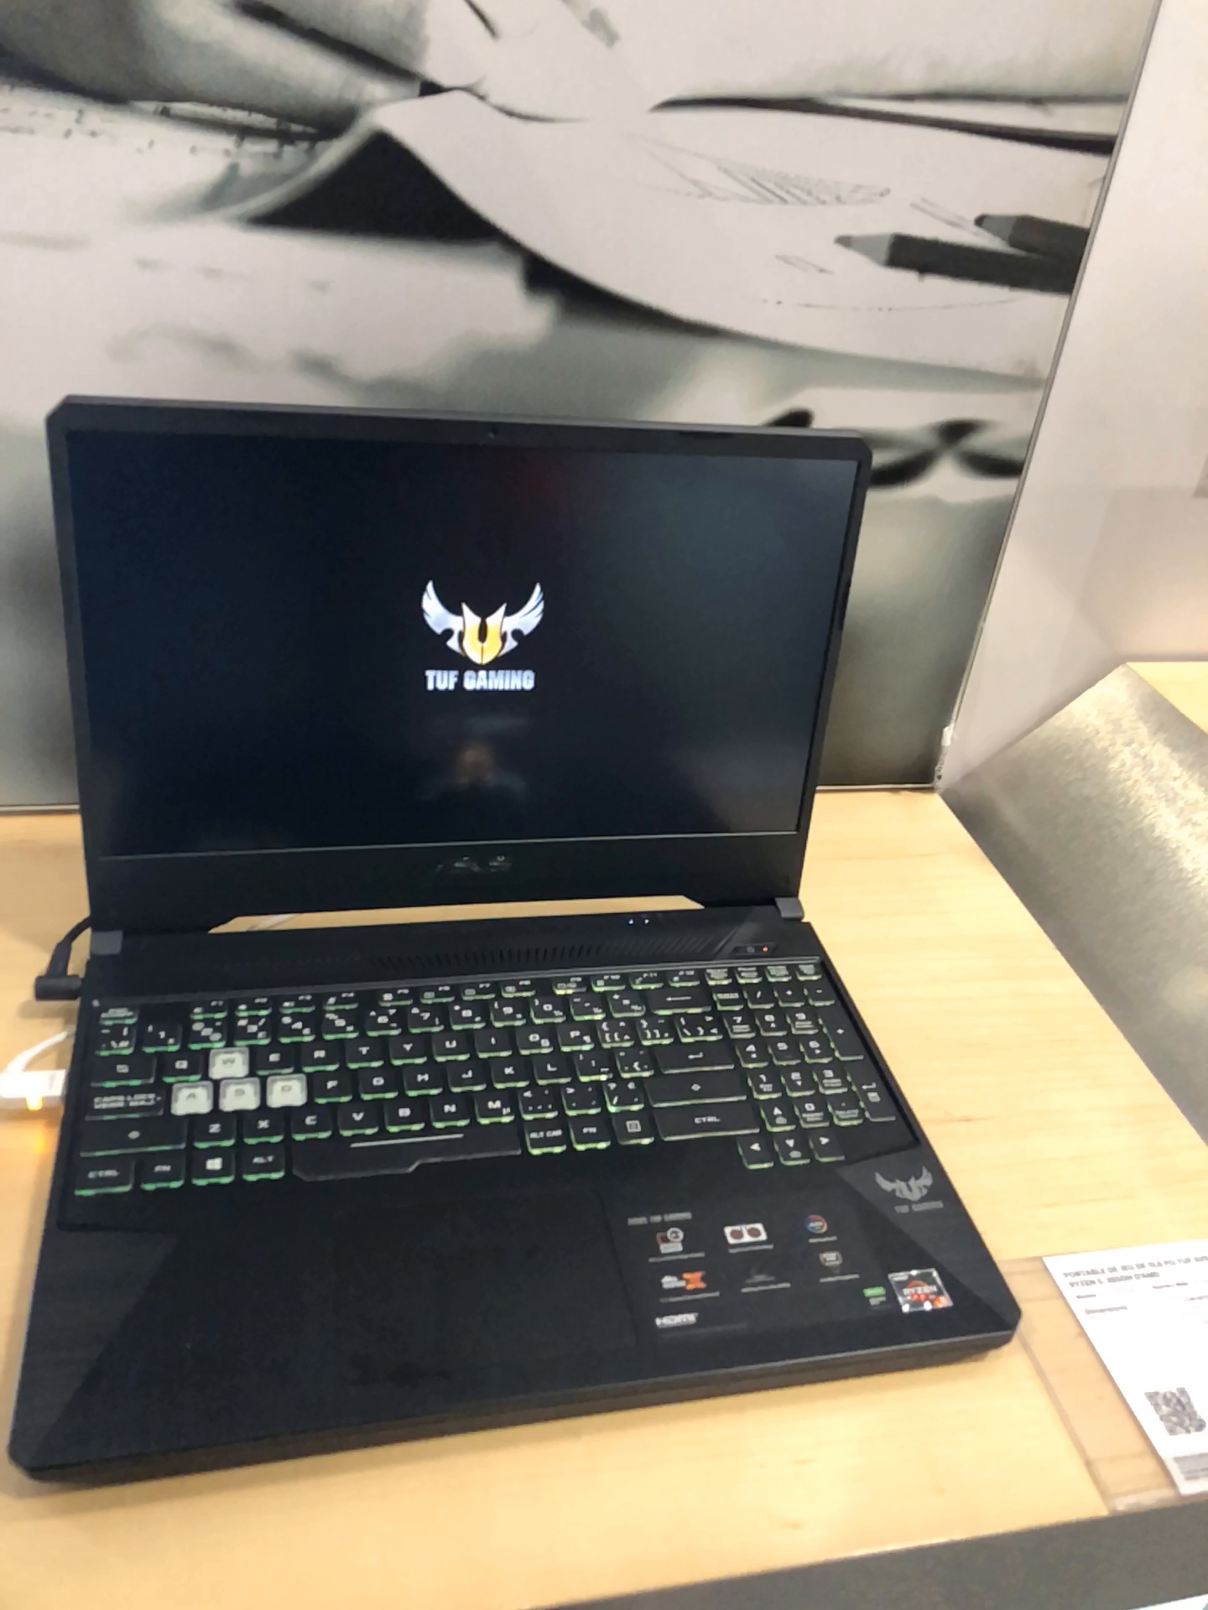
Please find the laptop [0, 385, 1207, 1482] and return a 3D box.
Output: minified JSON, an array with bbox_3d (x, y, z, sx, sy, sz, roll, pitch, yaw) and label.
[{"bbox_3d":[-0.034,0.015,0.515,0.359,0.245,0.310,-2,34,-14],"label":"laptop"}]
